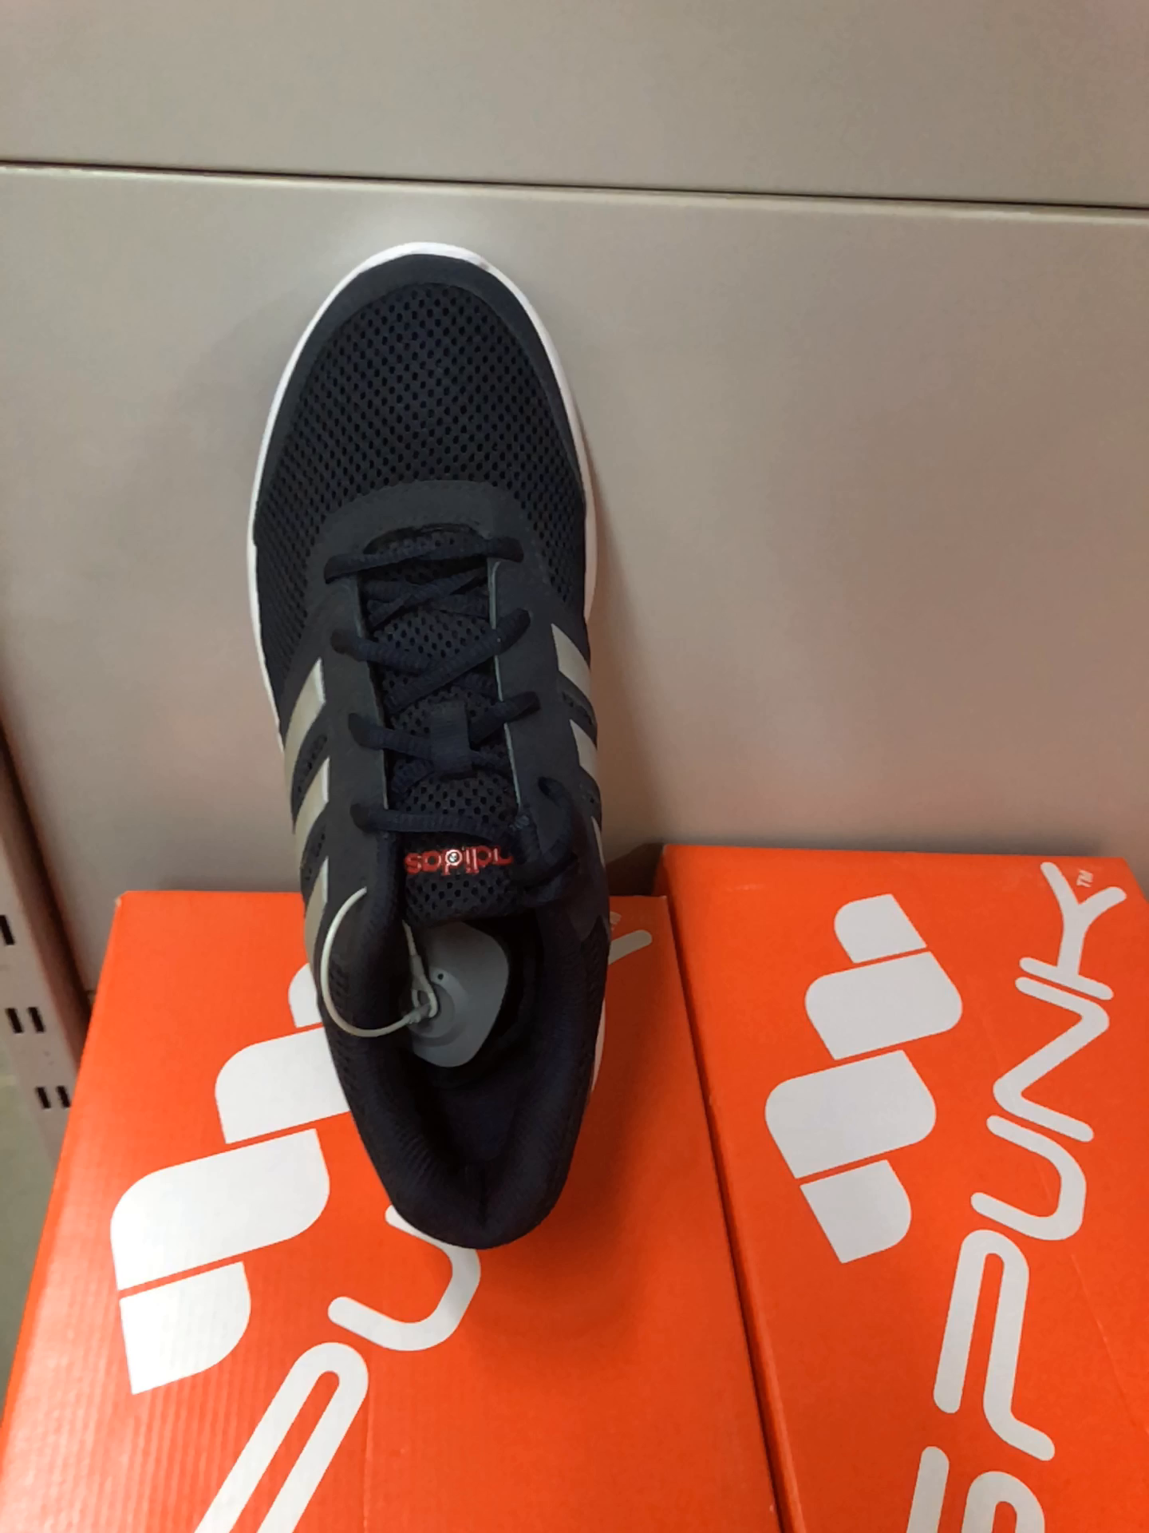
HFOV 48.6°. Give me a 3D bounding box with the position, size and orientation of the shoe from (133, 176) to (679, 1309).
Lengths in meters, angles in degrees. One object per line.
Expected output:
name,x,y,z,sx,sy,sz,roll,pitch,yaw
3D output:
shoe,-0.041,-0.006,0.358,0.110,0.271,0.088,-5,5,-2
